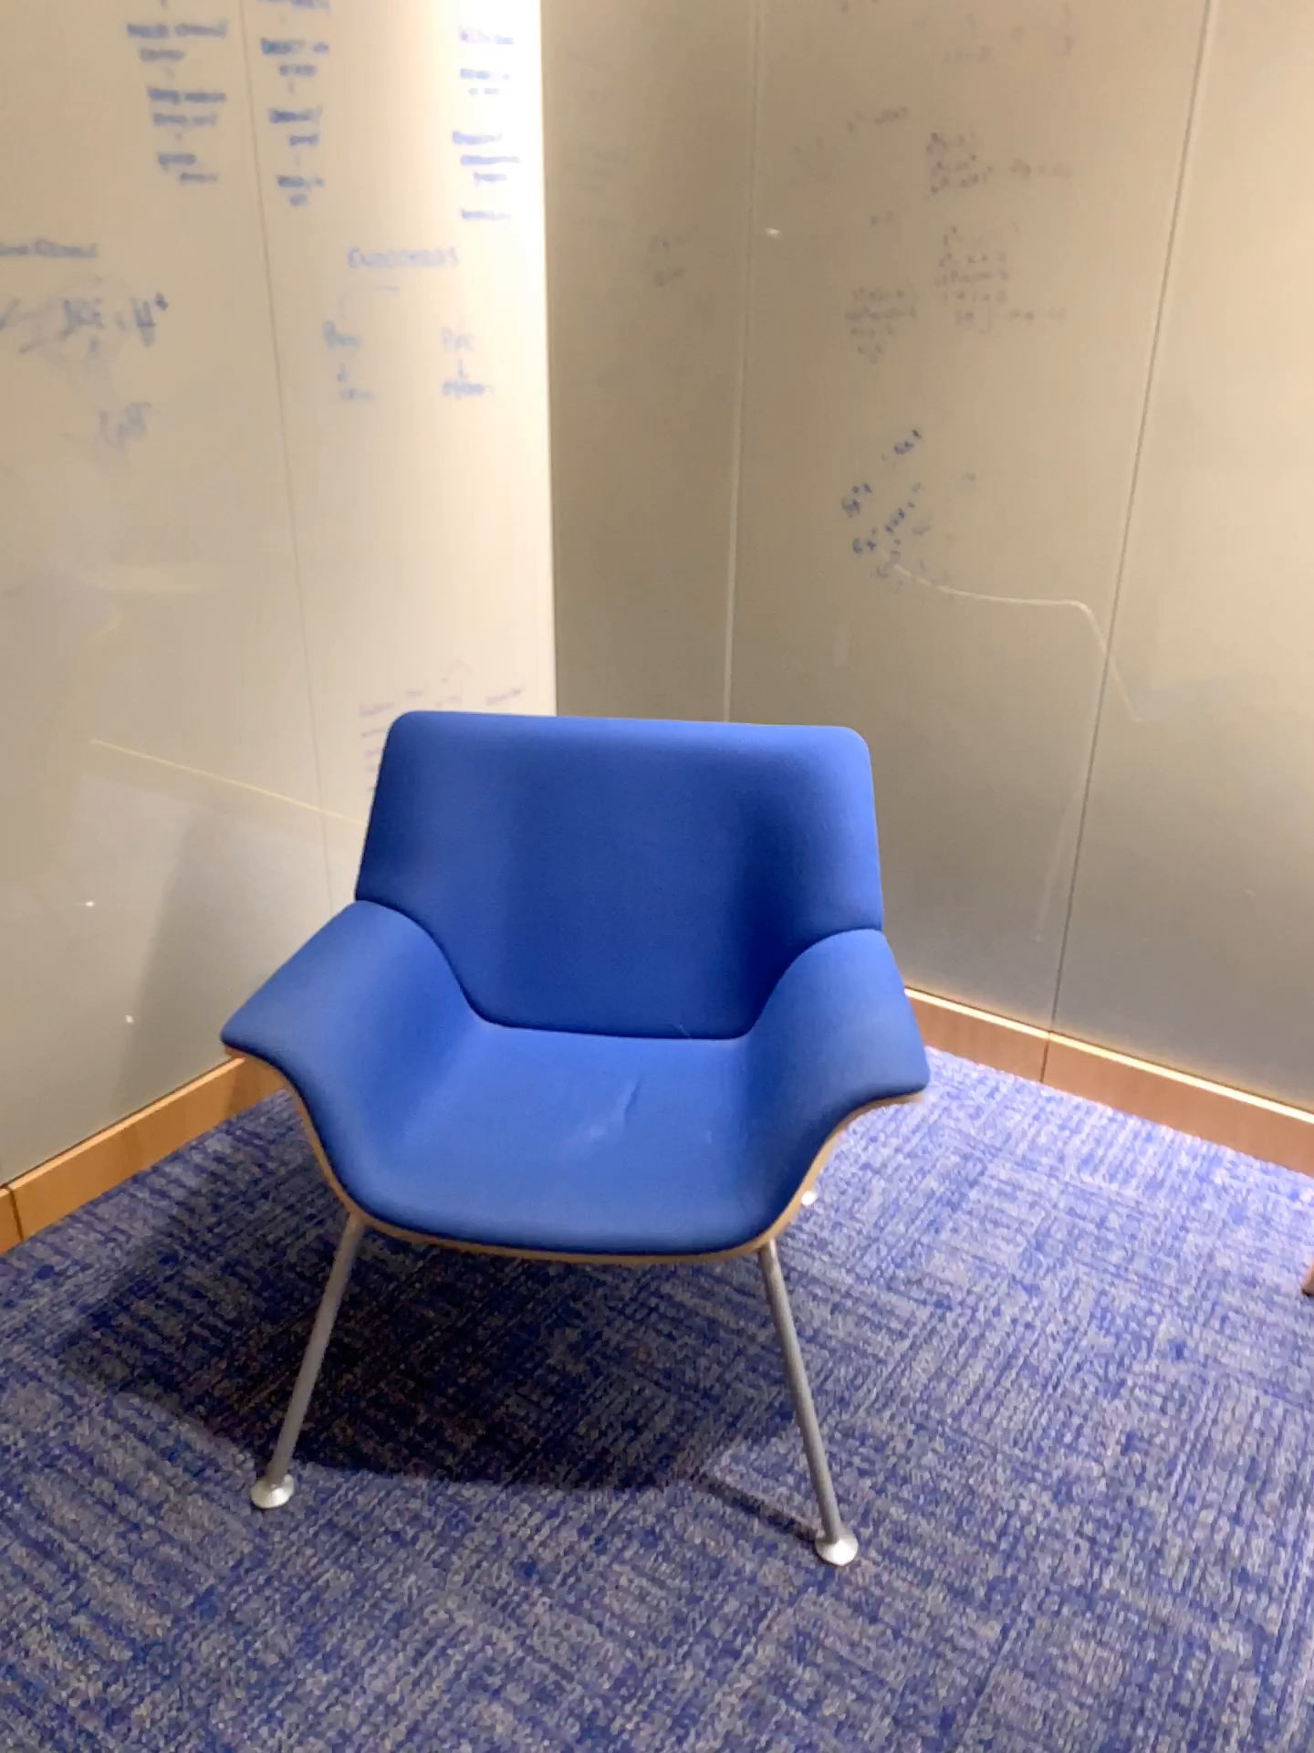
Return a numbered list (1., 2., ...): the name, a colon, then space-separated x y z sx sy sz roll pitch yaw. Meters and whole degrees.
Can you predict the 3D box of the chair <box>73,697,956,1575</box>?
1. chair: -0.103 0.245 1.655 0.788 0.713 0.743 3 24 5
